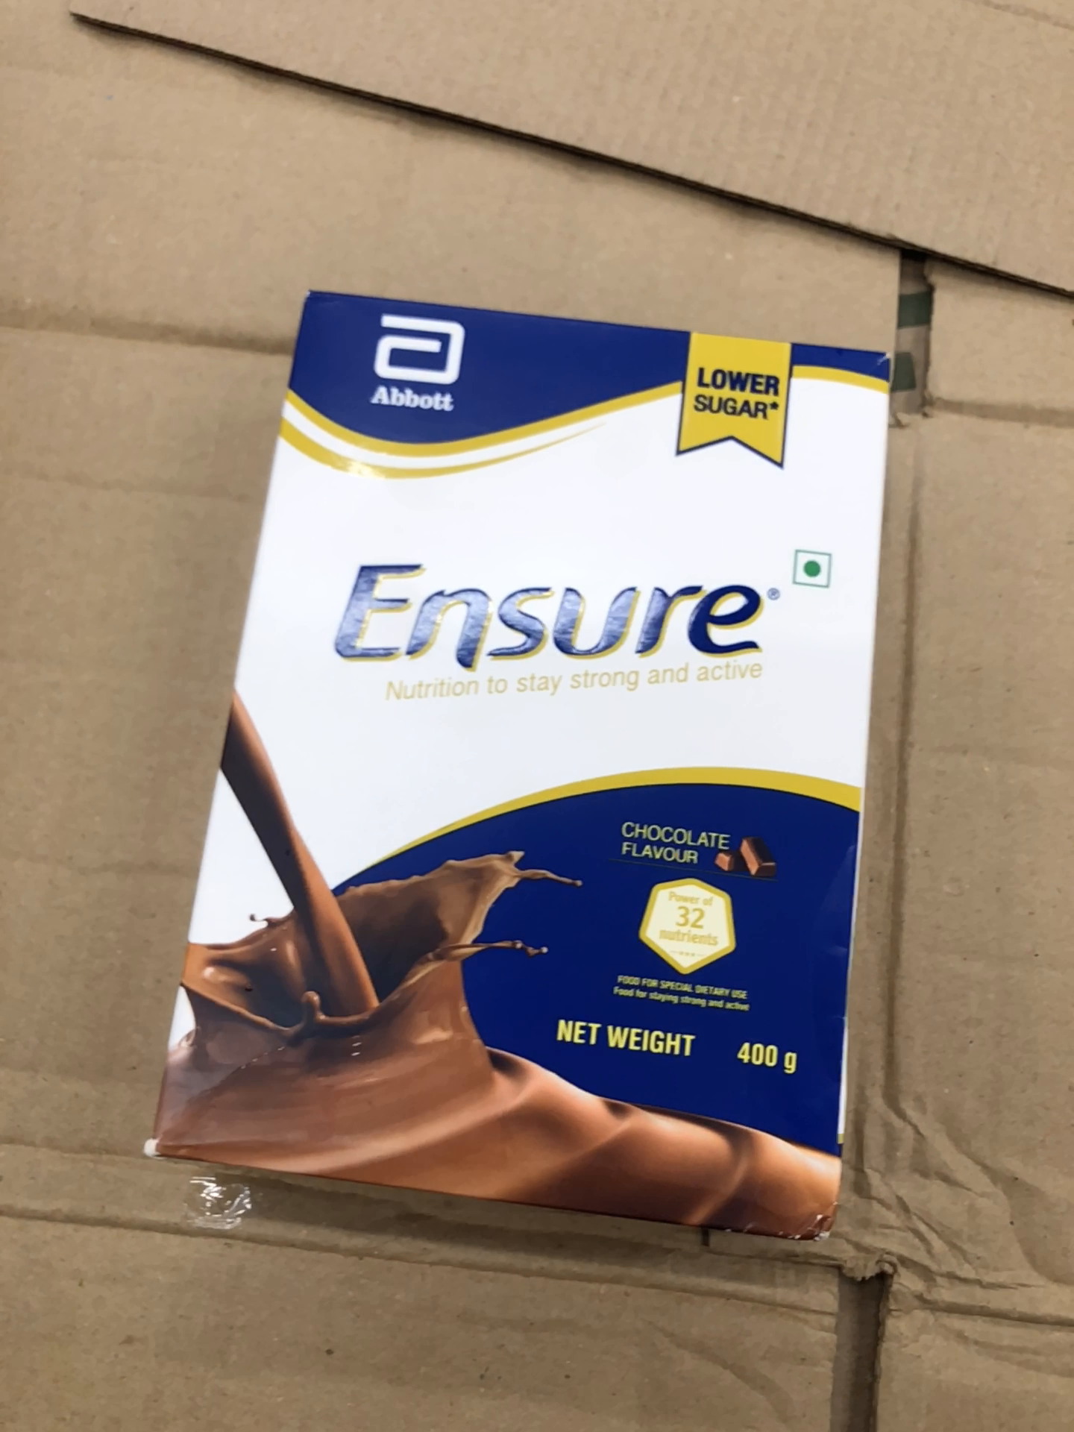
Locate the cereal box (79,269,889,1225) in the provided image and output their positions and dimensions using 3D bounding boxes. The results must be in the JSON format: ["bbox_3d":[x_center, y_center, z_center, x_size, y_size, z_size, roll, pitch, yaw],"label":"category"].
[{"bbox_3d":[-0.004,0.003,0.265,0.140,0.050,0.180,7,77,2],"label":"cereal box"}]
